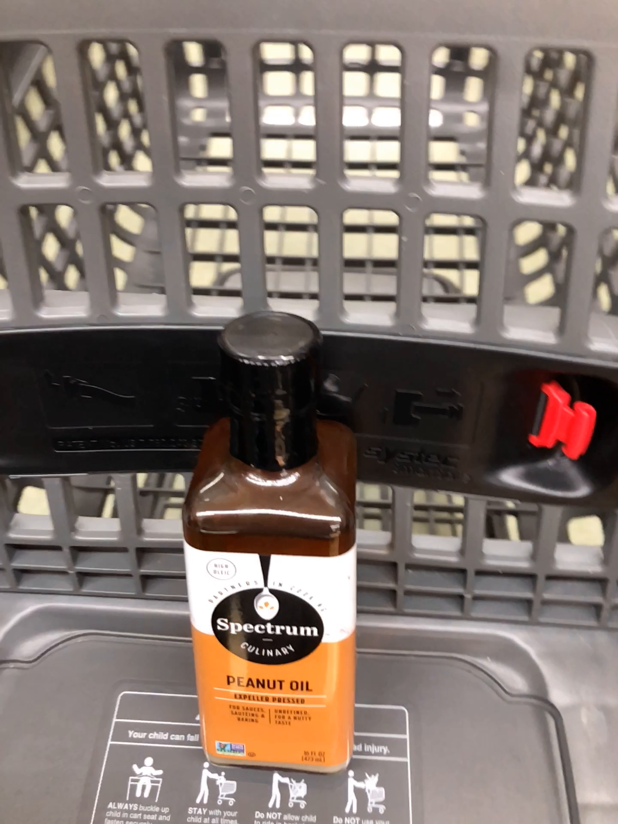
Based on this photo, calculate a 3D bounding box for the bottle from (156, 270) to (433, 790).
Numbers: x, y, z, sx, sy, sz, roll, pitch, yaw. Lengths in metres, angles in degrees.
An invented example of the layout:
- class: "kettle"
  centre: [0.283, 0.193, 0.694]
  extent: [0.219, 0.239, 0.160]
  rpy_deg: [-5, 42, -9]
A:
- class: "bottle"
  centre: [-0.002, 0.052, 0.255]
  extent: [0.070, 0.190, 0.070]
  rpy_deg: [0, 34, 0]
